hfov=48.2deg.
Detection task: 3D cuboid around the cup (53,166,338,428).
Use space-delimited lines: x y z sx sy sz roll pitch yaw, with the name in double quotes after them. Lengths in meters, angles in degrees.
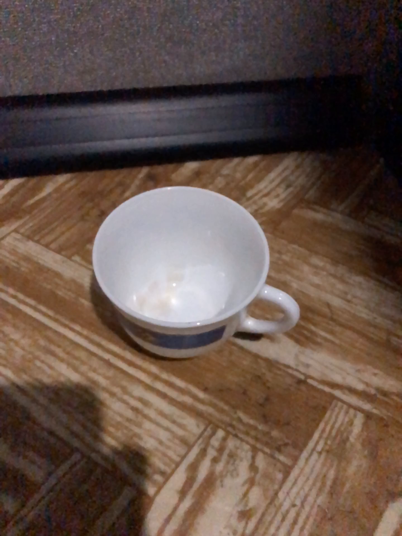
0.001 0.013 0.234 0.110 0.062 0.088 17 55 7 "cup"
